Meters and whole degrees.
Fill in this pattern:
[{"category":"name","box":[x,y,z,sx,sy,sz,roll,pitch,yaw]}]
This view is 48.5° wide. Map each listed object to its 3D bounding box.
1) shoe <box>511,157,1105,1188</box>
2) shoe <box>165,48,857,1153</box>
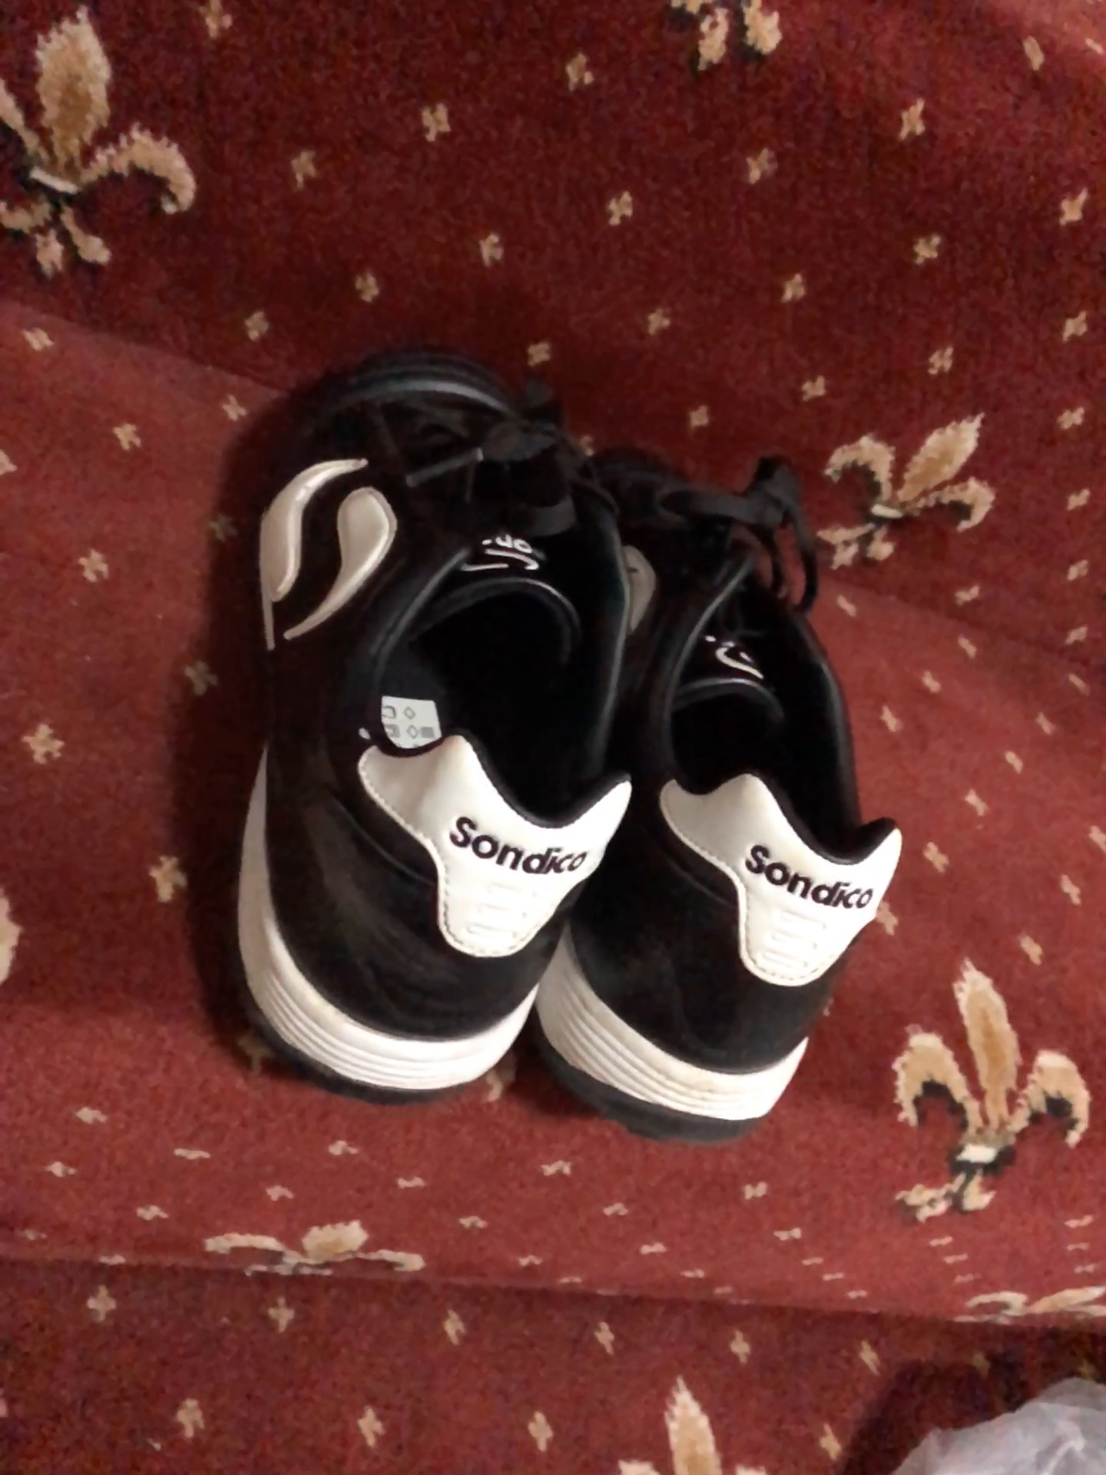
[{"category":"shoe","box":[0.054,-0.041,0.364,0.100,0.099,0.302,18,44,-20]},{"category":"shoe","box":[-0.023,-0.059,0.334,0.100,0.099,0.302,15,45,-22]}]
